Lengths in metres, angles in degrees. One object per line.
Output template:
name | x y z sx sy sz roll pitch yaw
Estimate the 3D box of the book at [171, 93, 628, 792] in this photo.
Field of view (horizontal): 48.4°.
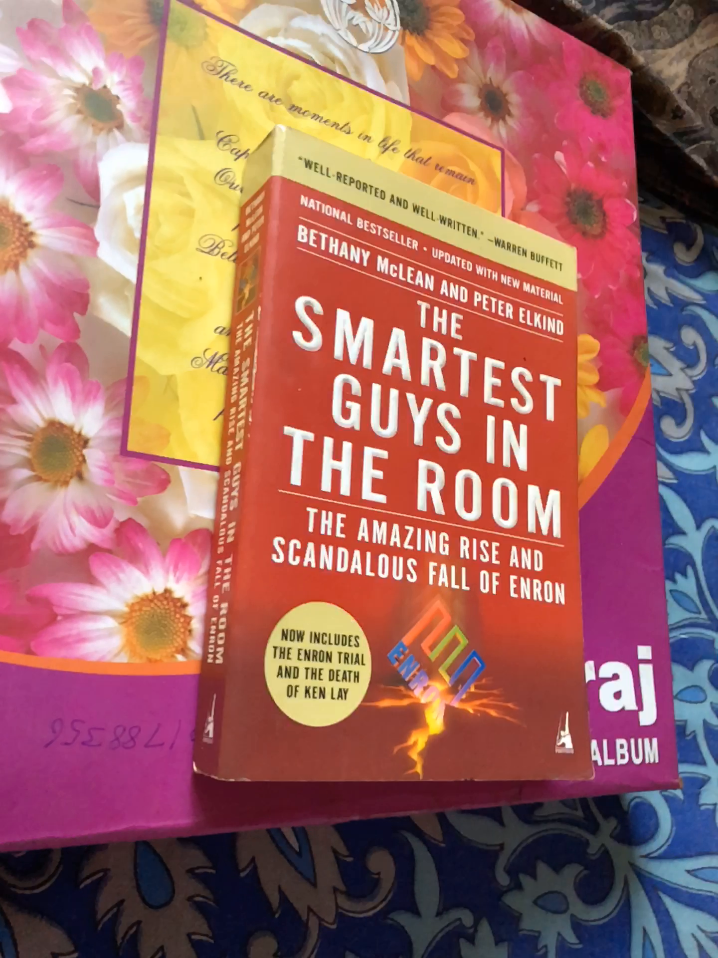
book | 0.024 -0.007 0.290 0.151 0.040 0.220 10 74 -25
